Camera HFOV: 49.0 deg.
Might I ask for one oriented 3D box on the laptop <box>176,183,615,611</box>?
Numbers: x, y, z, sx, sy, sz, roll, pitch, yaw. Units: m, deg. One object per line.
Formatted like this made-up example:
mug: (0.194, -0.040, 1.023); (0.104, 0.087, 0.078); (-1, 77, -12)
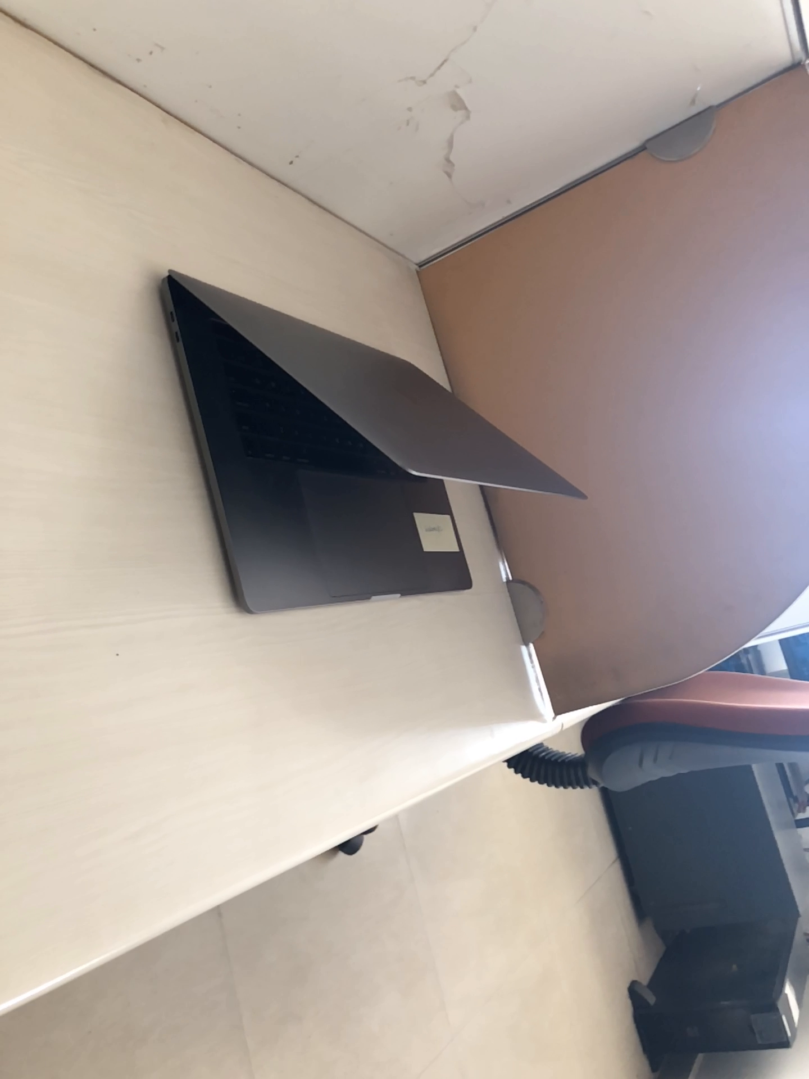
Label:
laptop: (0.016, -0.084, 0.689); (0.331, 0.134, 0.233); (2, 68, -61)
